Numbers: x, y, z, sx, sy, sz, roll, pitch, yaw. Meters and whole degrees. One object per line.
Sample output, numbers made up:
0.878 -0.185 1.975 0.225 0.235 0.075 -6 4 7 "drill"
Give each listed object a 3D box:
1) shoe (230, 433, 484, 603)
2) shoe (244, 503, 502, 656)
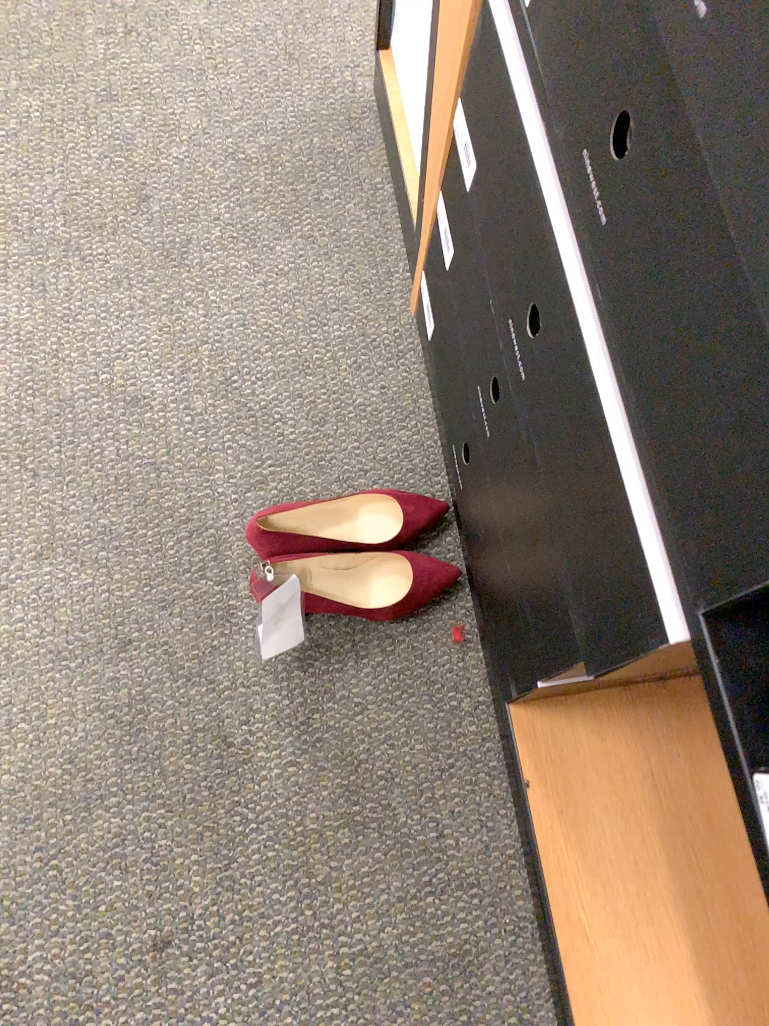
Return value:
-0.035 0.013 0.903 0.250 0.200 0.090 -11 72 -8 "shoe"
-0.019 0.082 0.885 0.250 0.200 0.090 -8 71 -7 "shoe"
